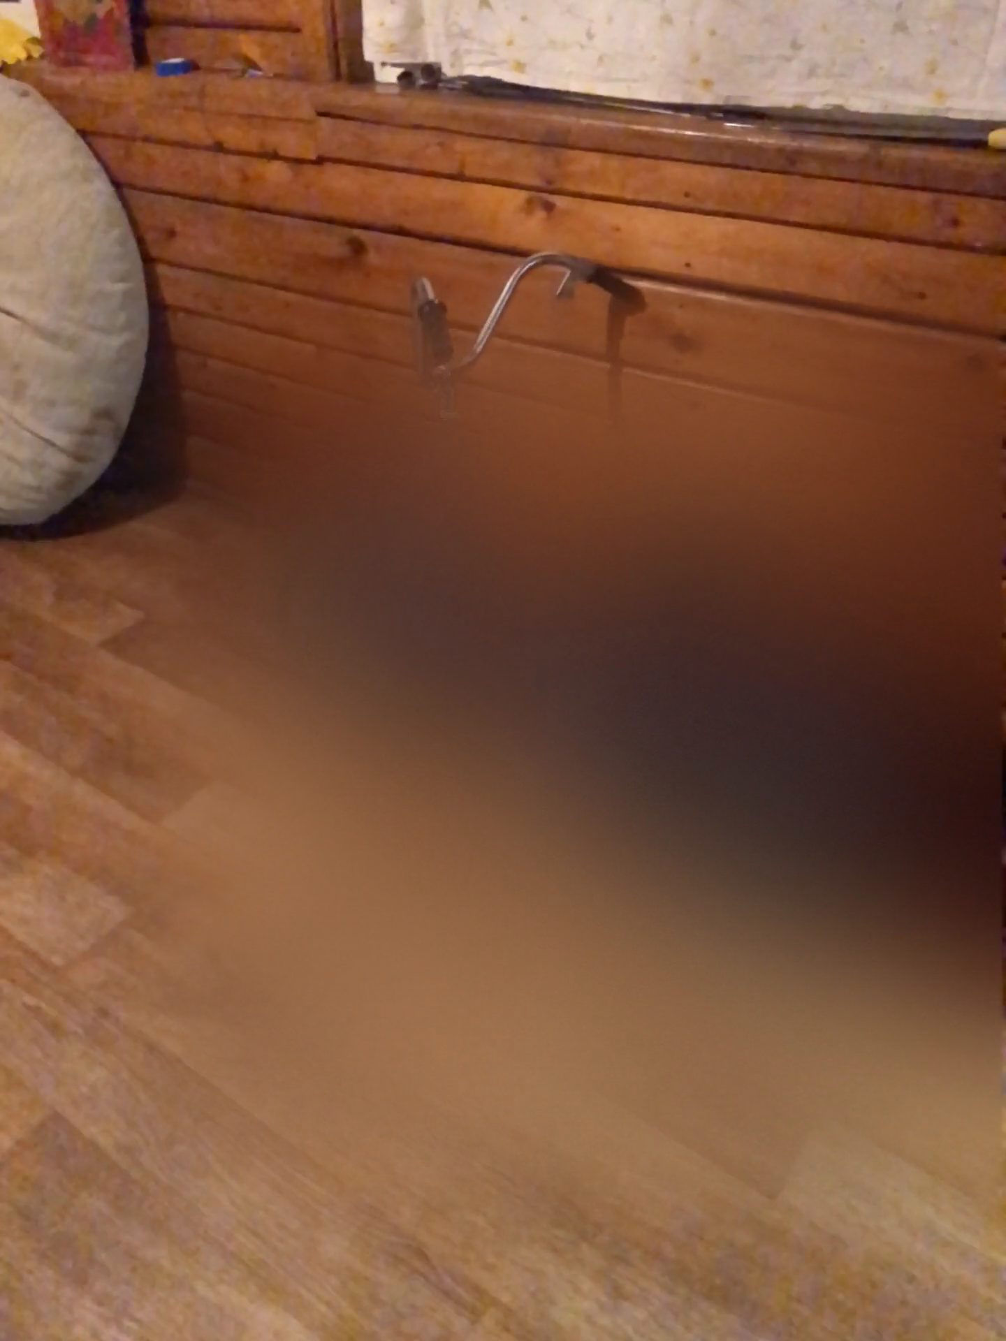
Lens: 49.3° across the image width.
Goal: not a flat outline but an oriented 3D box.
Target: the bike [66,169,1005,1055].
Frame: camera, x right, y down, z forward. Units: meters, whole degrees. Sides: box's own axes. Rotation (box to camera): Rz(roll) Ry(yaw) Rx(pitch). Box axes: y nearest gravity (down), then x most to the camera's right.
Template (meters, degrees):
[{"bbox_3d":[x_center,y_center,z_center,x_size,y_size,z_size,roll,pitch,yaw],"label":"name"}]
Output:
[{"bbox_3d":[0.067,-0.159,1.470,0.958,0.697,0.595,25,43,29],"label":"bike"}]
